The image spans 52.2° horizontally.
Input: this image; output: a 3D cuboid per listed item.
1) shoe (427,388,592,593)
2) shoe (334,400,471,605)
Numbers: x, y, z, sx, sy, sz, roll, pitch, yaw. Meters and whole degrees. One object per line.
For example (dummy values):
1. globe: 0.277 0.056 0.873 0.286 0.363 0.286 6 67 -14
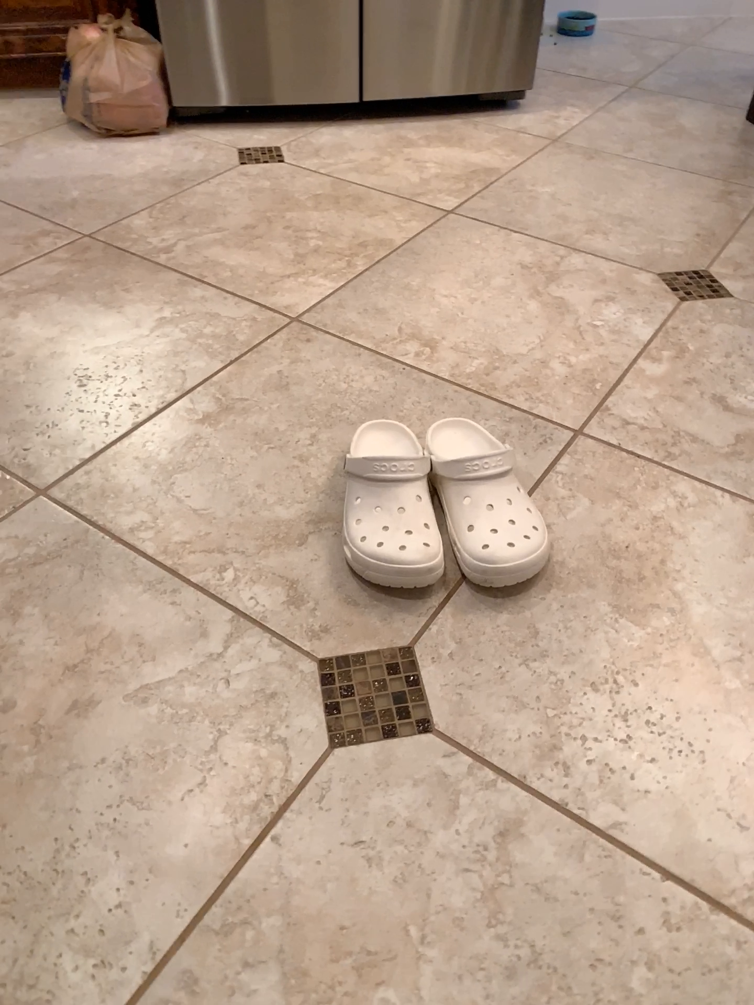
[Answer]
1. shoe: 0.145 -0.024 0.908 0.119 0.073 0.262 -5 45 -6
2. shoe: 0.021 -0.010 0.906 0.129 0.073 0.262 -3 45 -4
